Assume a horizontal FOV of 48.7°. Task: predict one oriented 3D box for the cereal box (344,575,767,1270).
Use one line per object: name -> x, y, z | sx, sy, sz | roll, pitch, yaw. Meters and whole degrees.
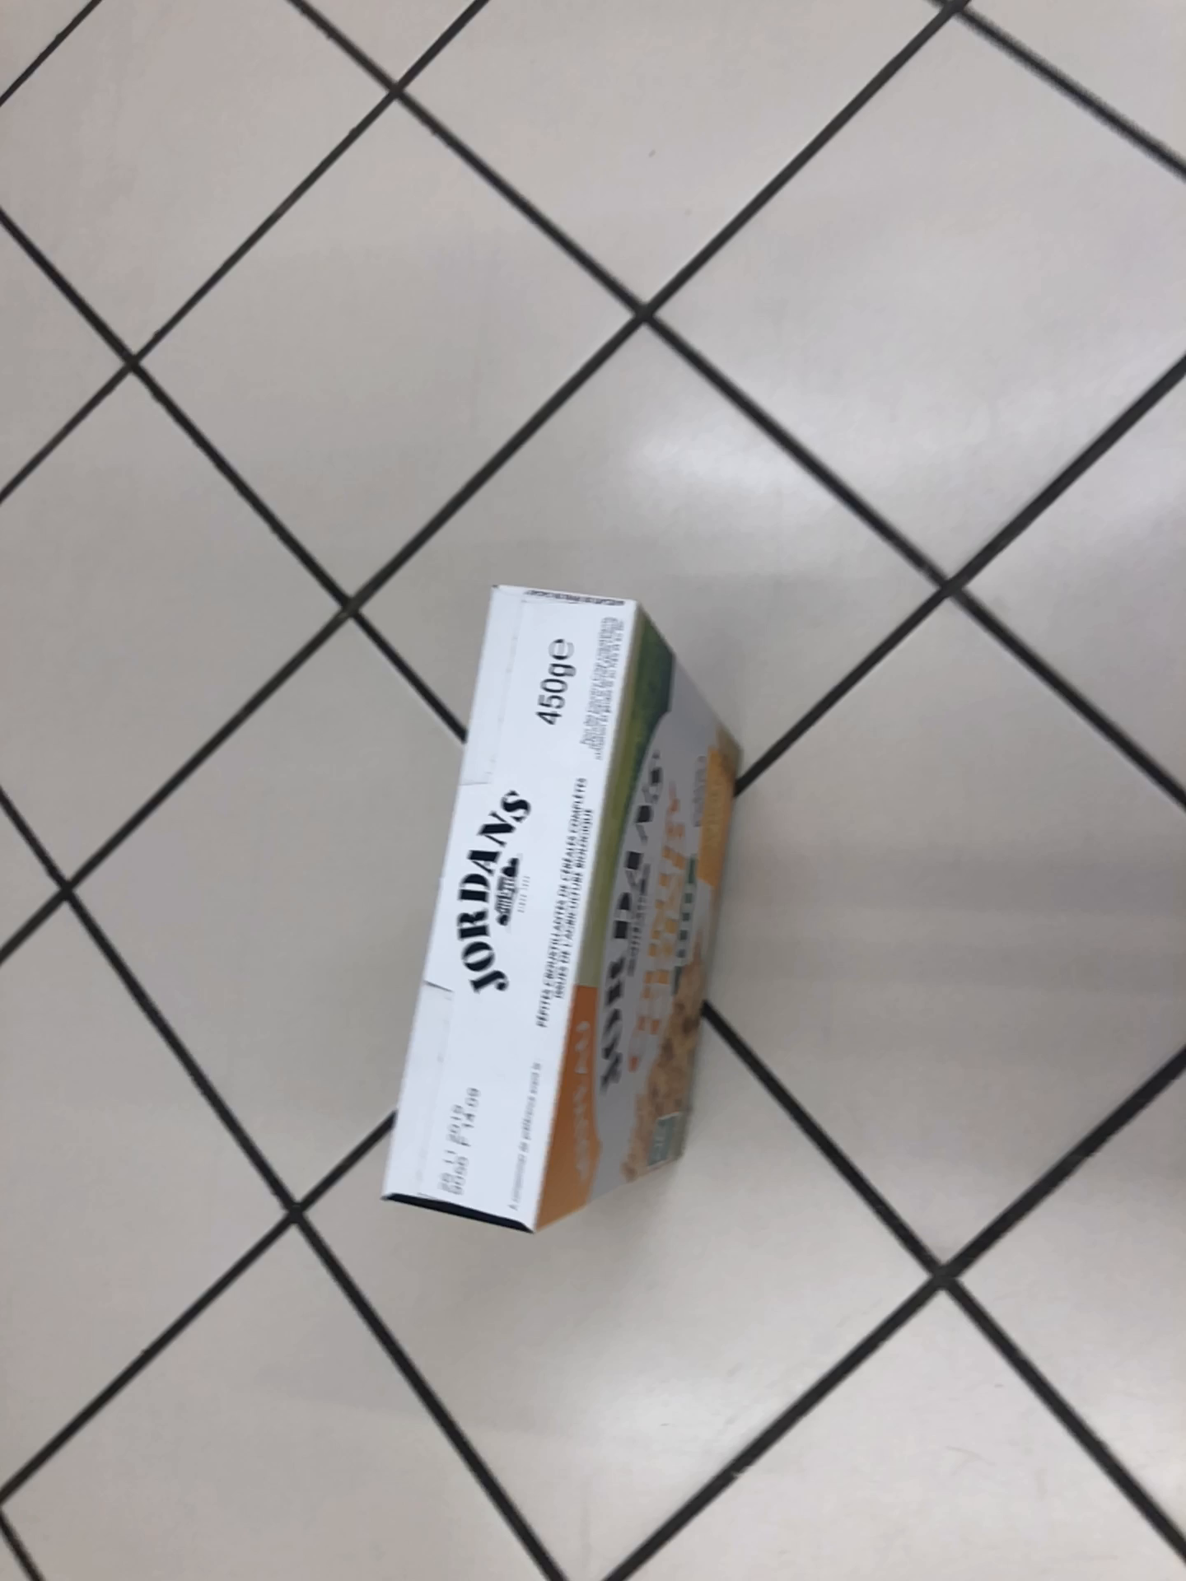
cereal box -> 0.003, 0.051, 0.471 | 0.060, 0.210, 0.190 | 7, 81, 17
